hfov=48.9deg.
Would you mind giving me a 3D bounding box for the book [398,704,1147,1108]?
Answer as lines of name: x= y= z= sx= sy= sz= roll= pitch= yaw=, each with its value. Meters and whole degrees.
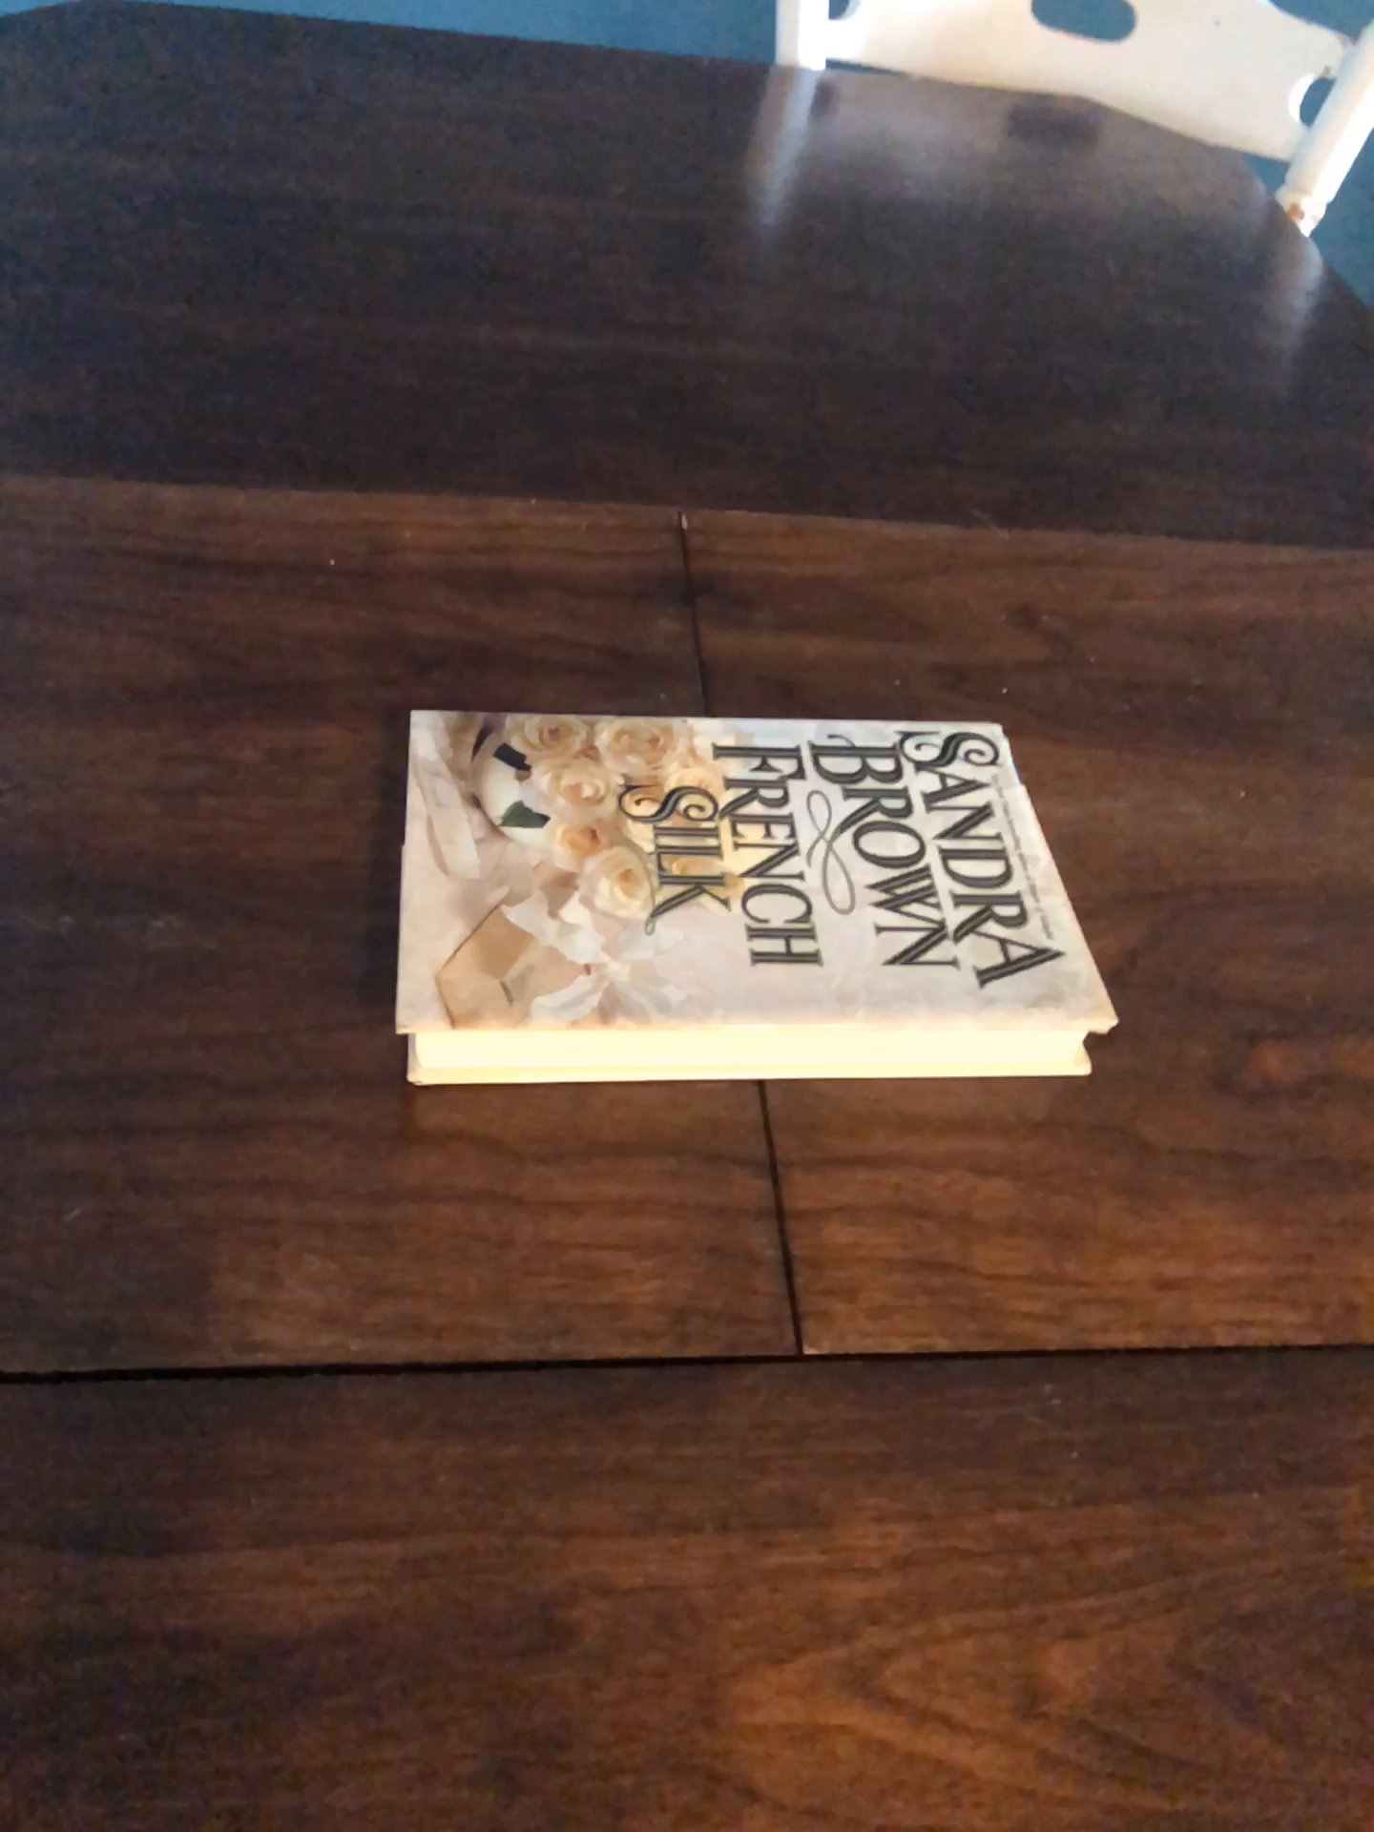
book: x=0.021 y=-0.009 z=0.541 sx=0.240 sy=0.033 sz=0.161 roll=0 pitch=47 yaw=-9
